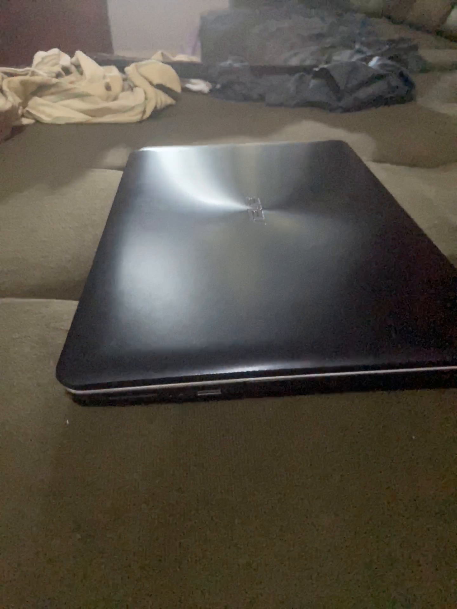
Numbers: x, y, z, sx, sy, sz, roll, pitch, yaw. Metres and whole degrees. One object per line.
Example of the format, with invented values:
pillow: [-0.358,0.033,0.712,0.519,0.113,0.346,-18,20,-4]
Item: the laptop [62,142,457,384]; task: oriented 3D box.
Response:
laptop: [0.019,-0.075,0.408,0.234,0.004,0.372,-3,36,-1]
